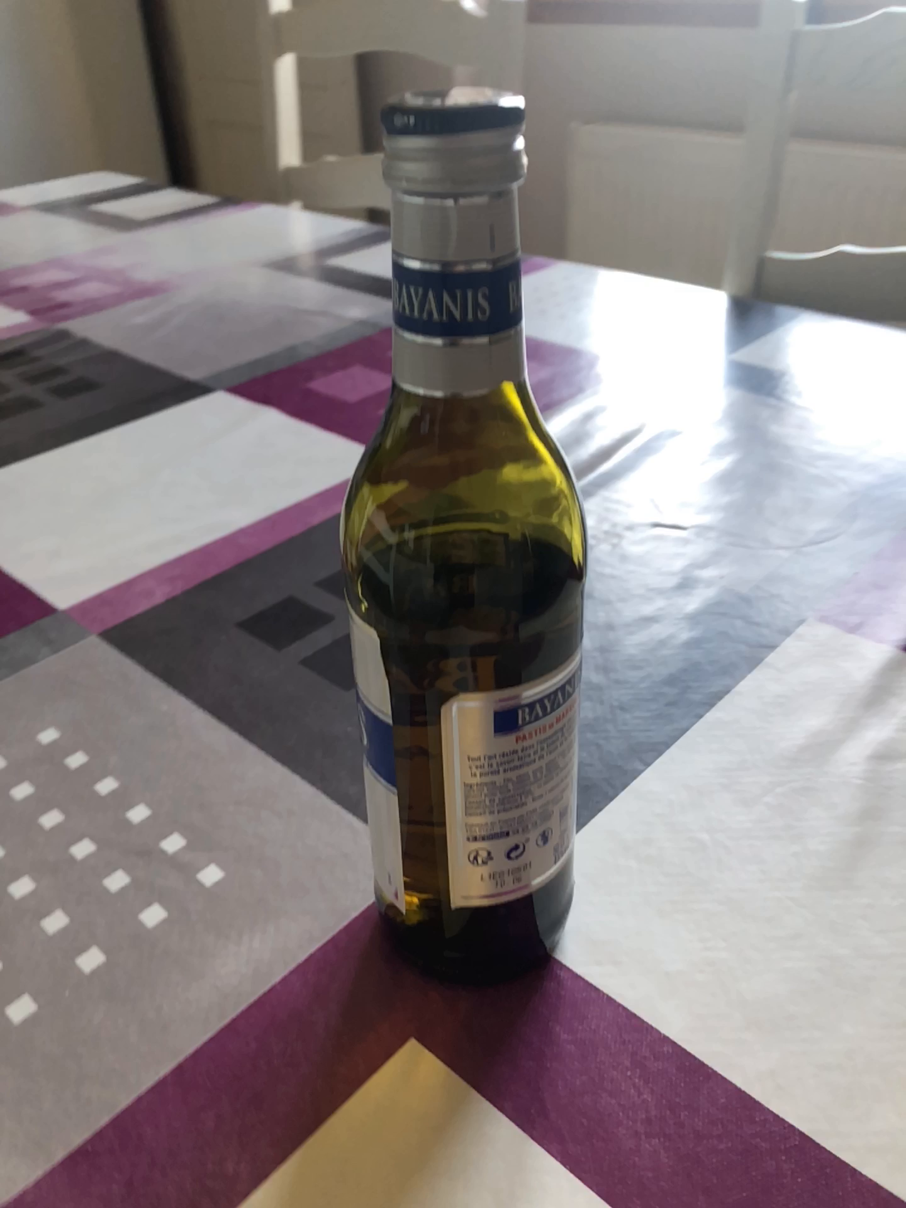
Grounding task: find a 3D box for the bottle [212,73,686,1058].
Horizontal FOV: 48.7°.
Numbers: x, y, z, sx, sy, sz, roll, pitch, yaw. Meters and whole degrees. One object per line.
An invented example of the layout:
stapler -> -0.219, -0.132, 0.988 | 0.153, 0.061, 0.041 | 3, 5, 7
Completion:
bottle -> 0.005, 0.003, 0.277 | 0.070, 0.258, 0.070 | -2, 33, 1
